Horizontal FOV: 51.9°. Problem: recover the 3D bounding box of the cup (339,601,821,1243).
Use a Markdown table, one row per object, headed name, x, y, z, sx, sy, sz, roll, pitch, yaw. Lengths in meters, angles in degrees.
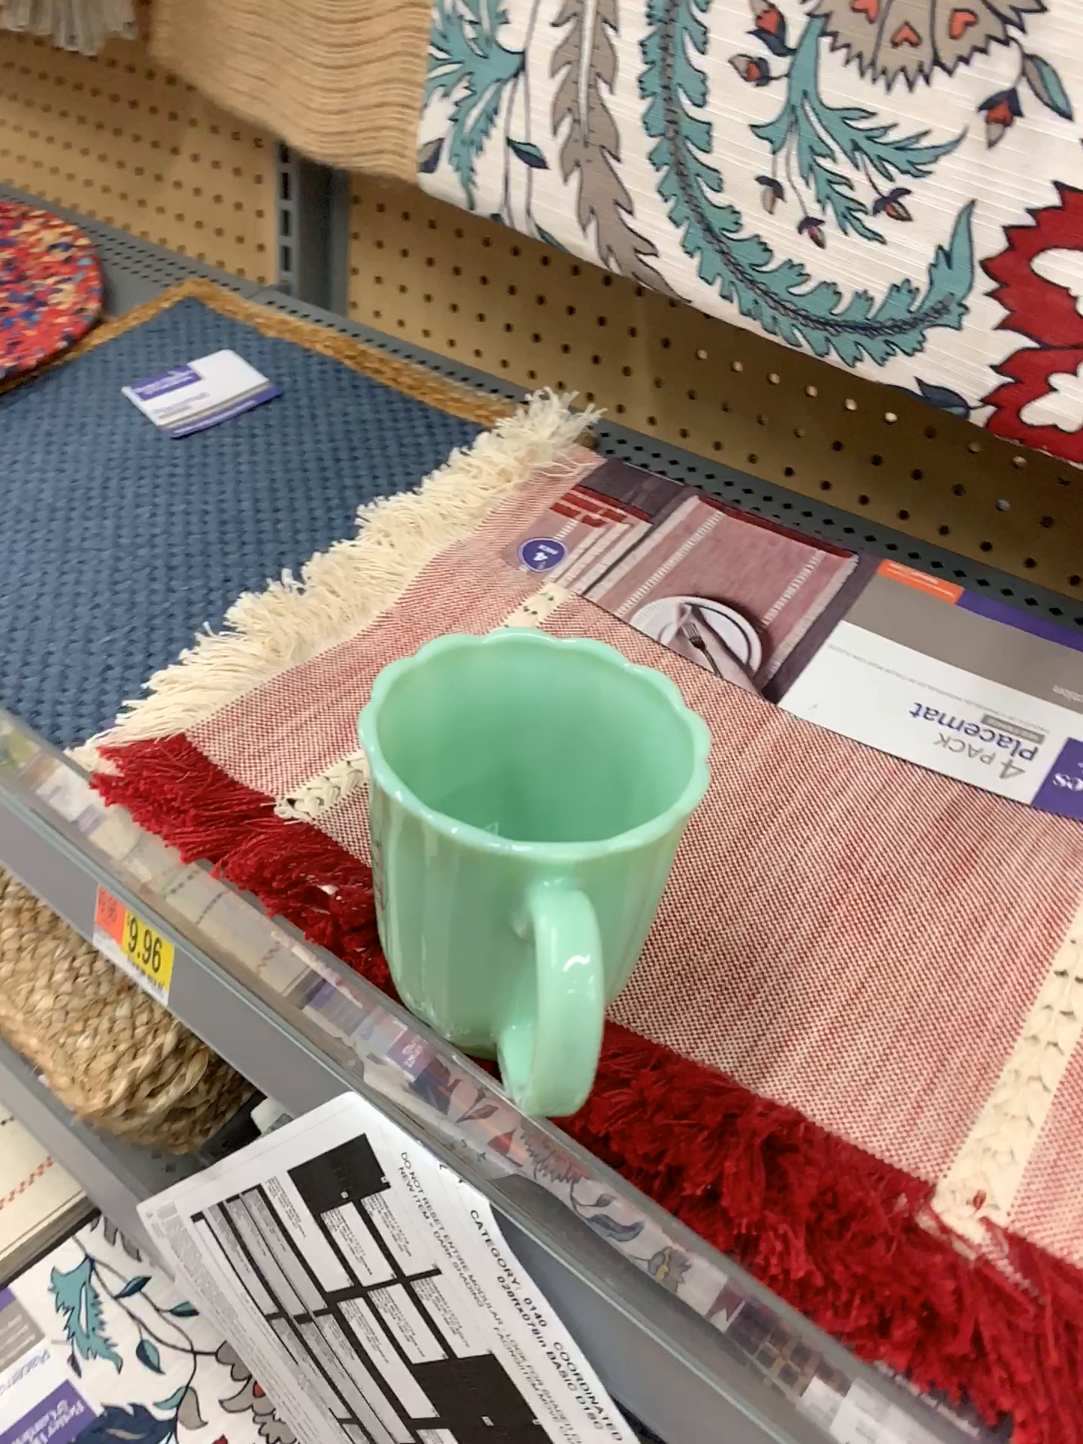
| name | x | y | z | sx | sy | sz | roll | pitch | yaw |
| --- | --- | --- | --- | --- | --- | --- | --- | --- | --- |
| cup | -0.005 | 0.042 | 0.284 | 0.090 | 0.090 | 0.131 | 1 | 36 | -11 |
